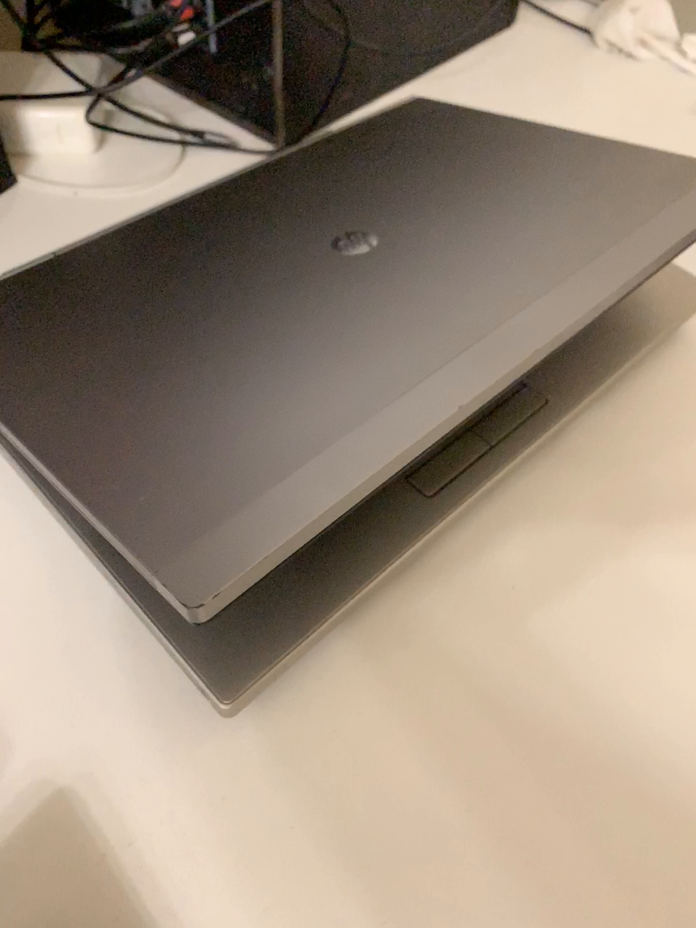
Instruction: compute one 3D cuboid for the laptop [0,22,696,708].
[{"bbox_3d":[0.001,-0.085,0.310,0.304,0.042,0.200,-36,67,-28],"label":"laptop"}]
